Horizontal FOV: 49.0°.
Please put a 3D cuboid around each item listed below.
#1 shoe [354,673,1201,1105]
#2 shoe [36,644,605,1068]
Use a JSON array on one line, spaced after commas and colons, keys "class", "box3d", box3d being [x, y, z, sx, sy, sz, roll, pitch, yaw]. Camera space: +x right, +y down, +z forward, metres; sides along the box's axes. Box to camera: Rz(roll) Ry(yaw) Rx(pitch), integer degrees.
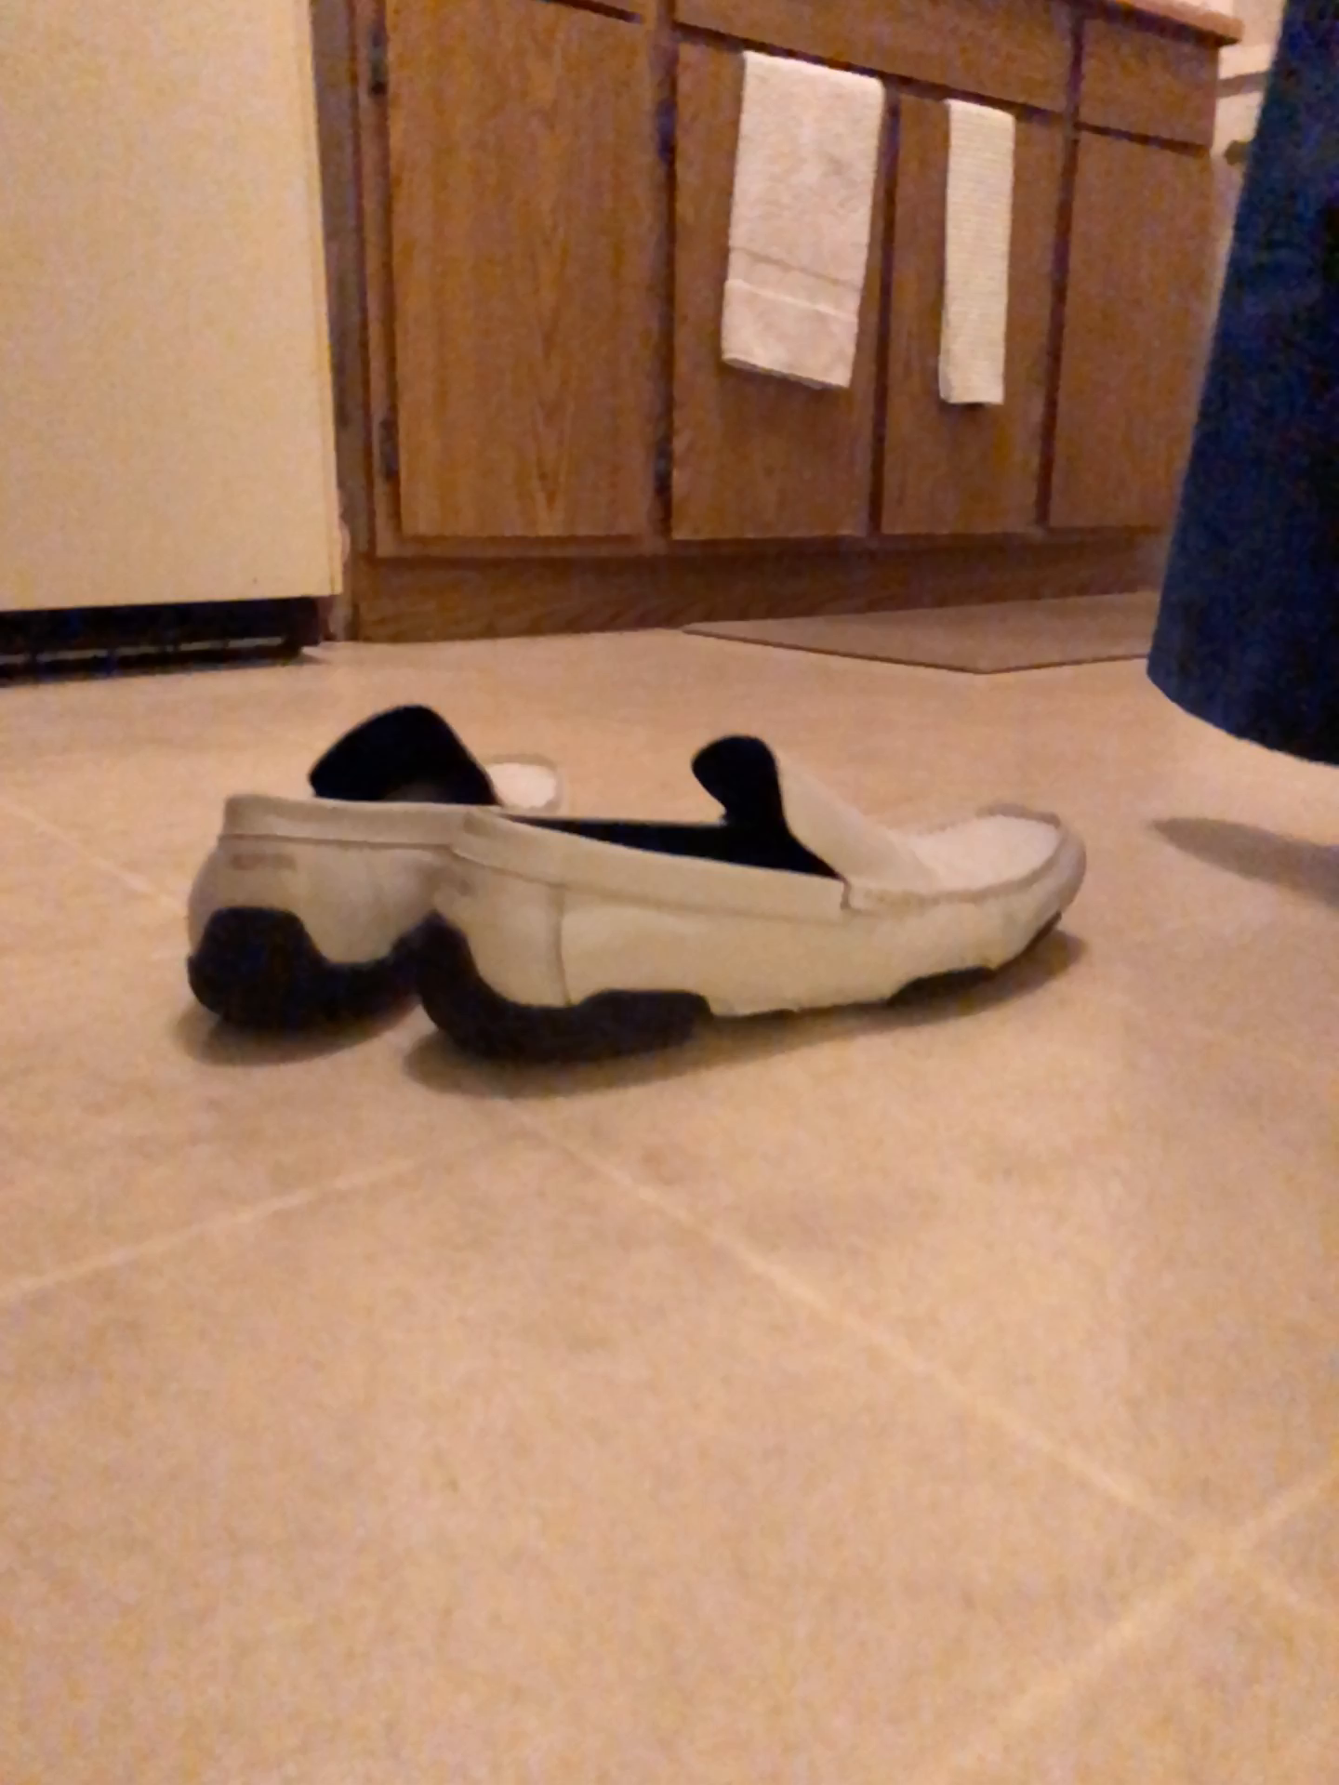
[{"class": "shoe", "box3d": [0.045, -0.017, 0.535, 0.290, 0.097, 0.111, -9, 18, -30]}, {"class": "shoe", "box3d": [-0.114, -0.036, 0.601, 0.110, 0.097, 0.308, 3, 16, 10]}]
